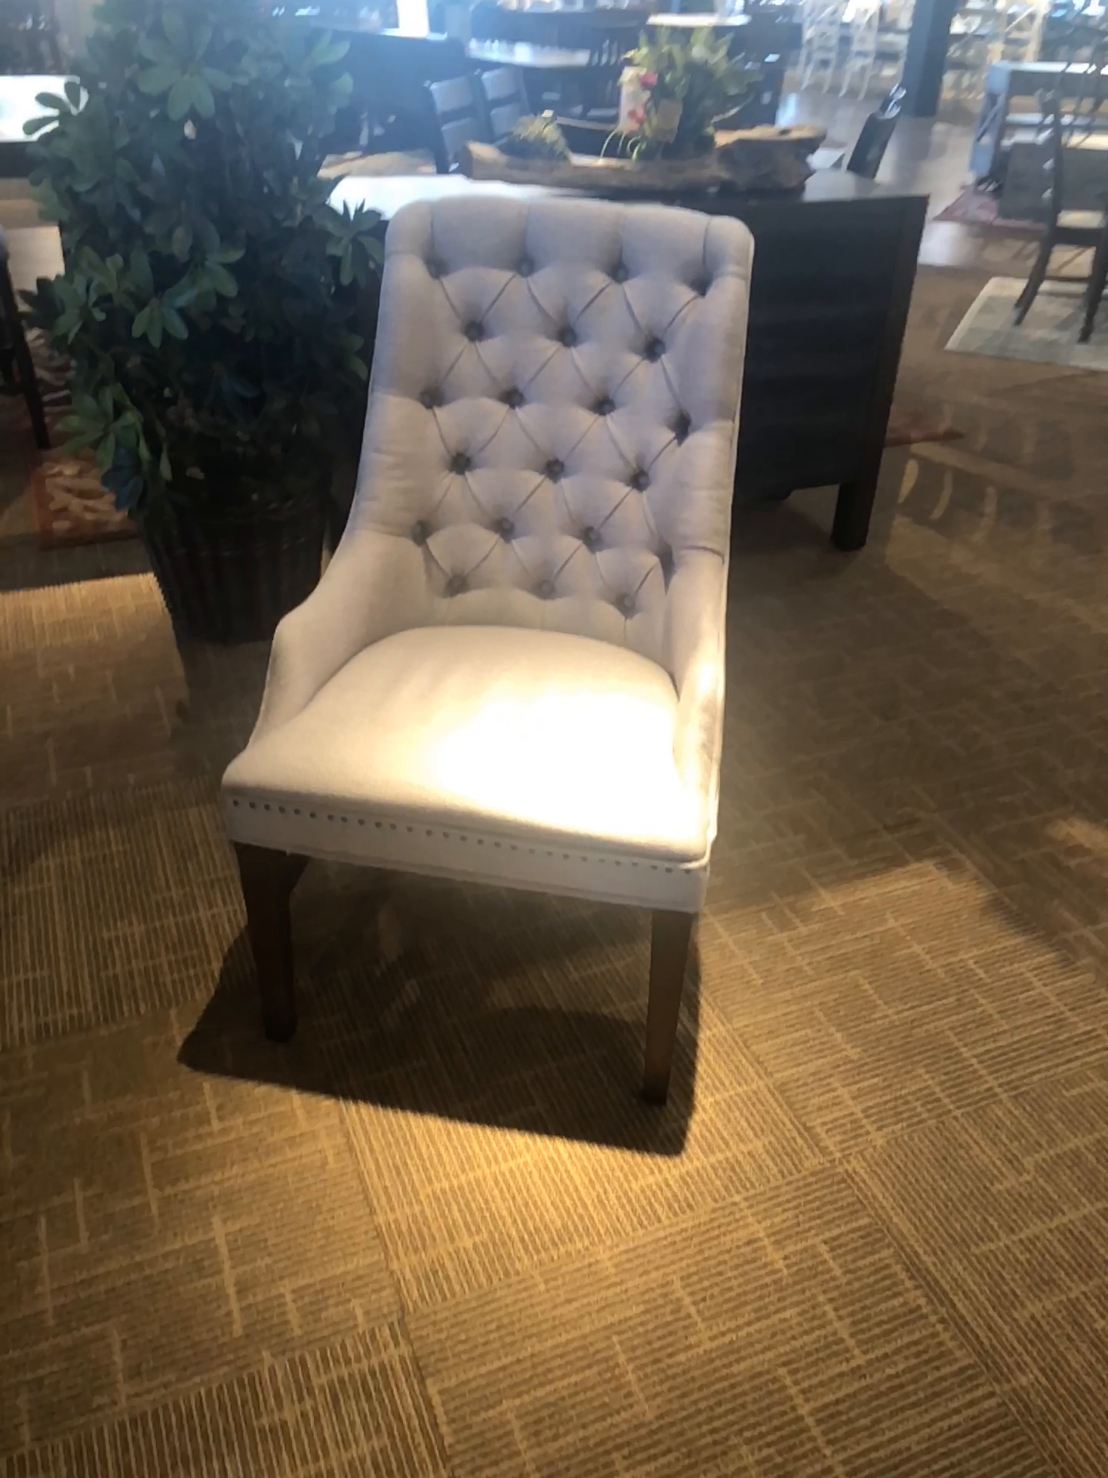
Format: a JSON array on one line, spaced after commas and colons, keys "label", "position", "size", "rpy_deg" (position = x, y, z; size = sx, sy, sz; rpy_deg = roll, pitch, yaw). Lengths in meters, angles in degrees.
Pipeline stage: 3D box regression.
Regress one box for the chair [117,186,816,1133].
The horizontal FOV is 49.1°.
[{"label": "chair", "position": [-0.046, -0.149, 1.713], "size": [0.640, 1.015, 0.764], "rpy_deg": [9, 33, 10]}]
